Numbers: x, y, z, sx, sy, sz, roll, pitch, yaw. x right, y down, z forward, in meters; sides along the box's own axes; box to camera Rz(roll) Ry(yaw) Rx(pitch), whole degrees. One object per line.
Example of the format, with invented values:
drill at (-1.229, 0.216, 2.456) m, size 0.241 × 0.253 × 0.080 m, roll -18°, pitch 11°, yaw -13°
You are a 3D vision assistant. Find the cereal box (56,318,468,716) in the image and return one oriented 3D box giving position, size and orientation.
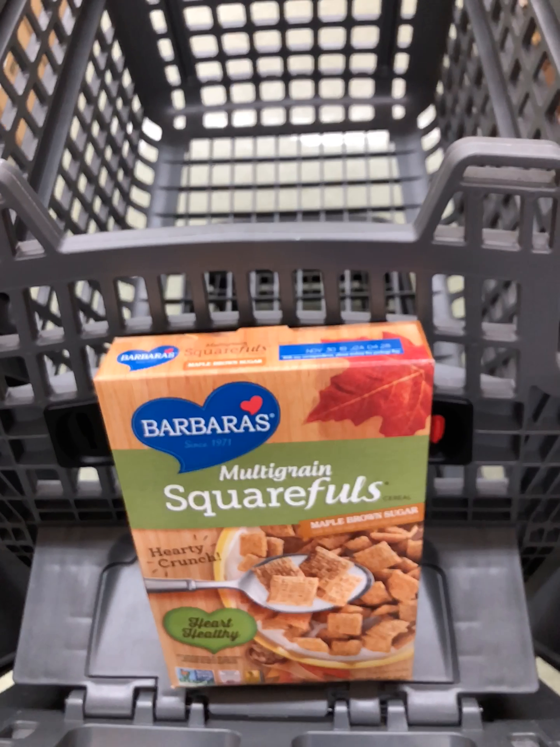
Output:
cereal box at (-0.001, 0.101, 0.379) m, size 0.190 × 0.260 × 0.060 m, roll -2°, pitch 30°, yaw 3°
